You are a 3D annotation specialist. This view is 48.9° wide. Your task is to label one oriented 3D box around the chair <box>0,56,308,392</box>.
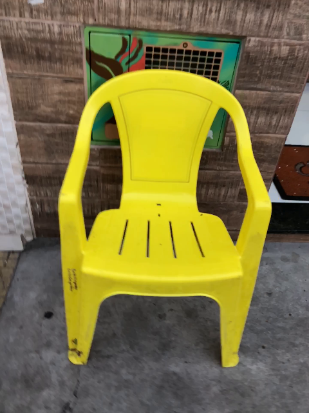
[{"bbox_3d":[0.032,0.062,0.969,0.640,0.744,0.544,3,38,-2],"label":"chair"}]
